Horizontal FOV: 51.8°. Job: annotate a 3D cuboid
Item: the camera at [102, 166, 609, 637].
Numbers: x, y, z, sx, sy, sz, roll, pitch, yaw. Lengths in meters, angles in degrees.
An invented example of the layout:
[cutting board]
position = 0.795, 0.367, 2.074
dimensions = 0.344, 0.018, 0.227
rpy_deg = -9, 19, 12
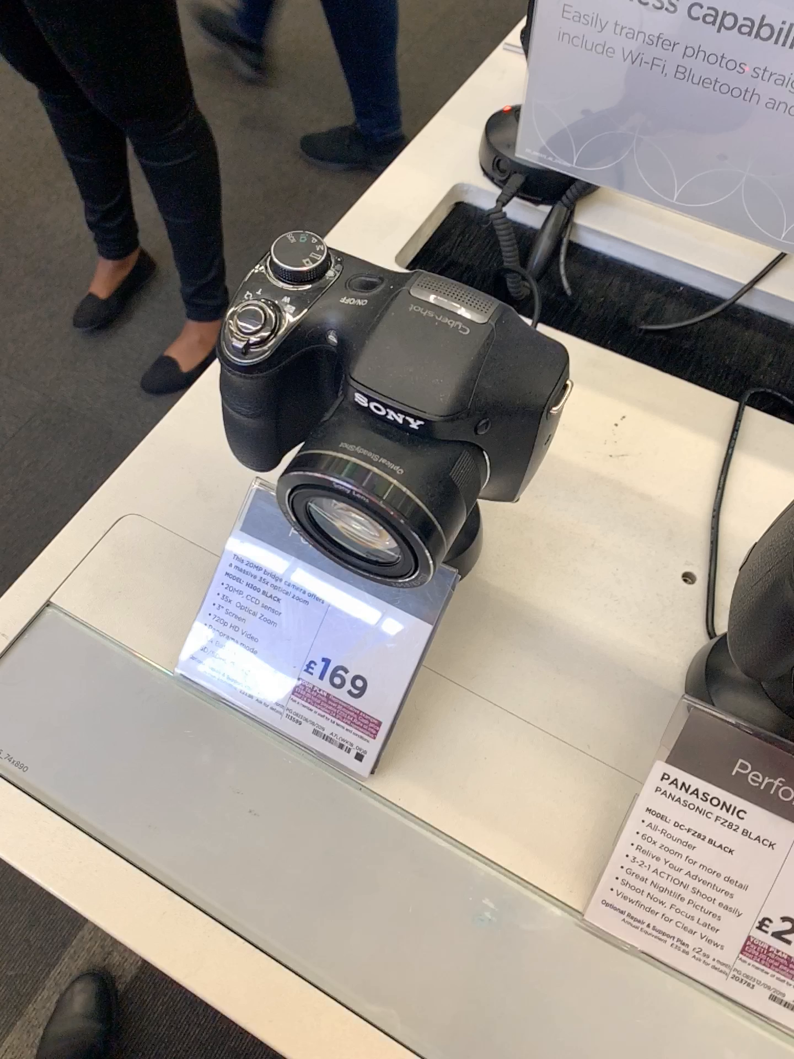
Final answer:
[camera]
position = -0.012, -0.045, 0.293
dimensions = 0.130, 0.089, 0.090
rpy_deg = 26, 62, 14
